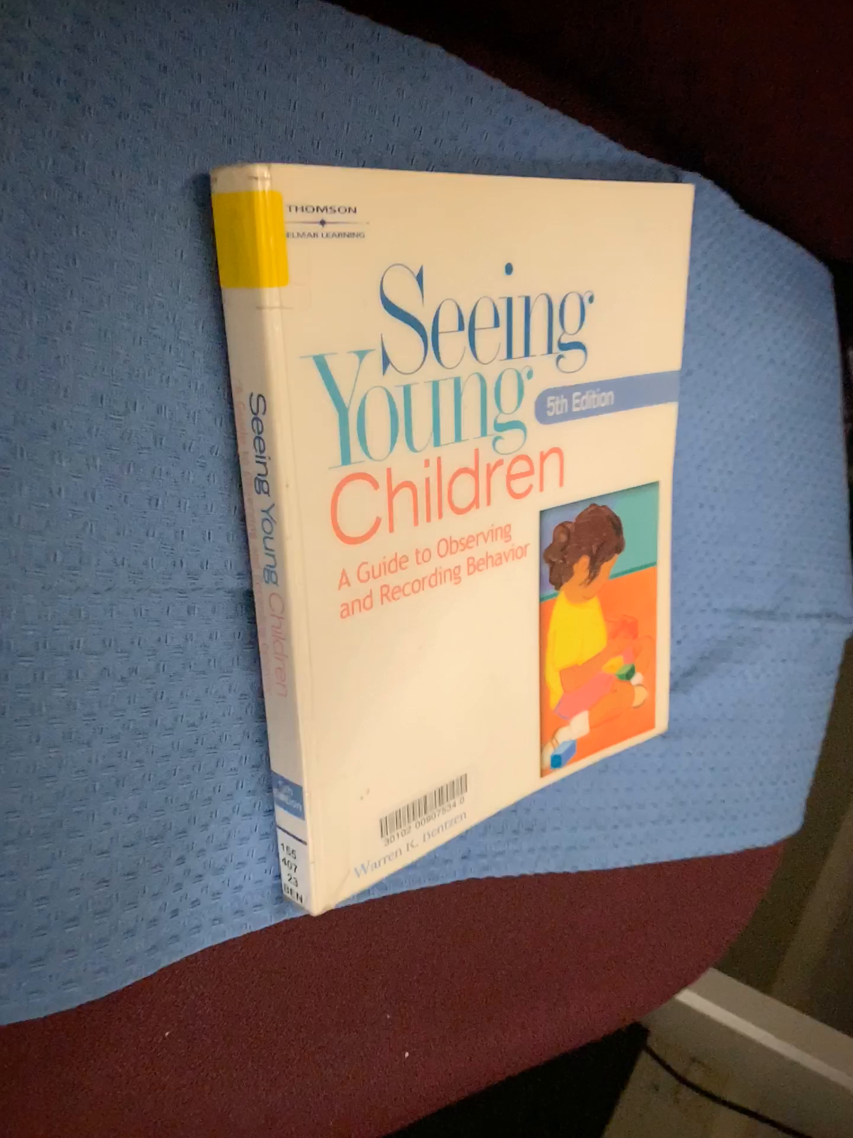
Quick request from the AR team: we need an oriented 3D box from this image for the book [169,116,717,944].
[{"bbox_3d":[0.022,-0.018,0.321,0.201,0.030,0.250,-18,117,-36],"label":"book"}]
